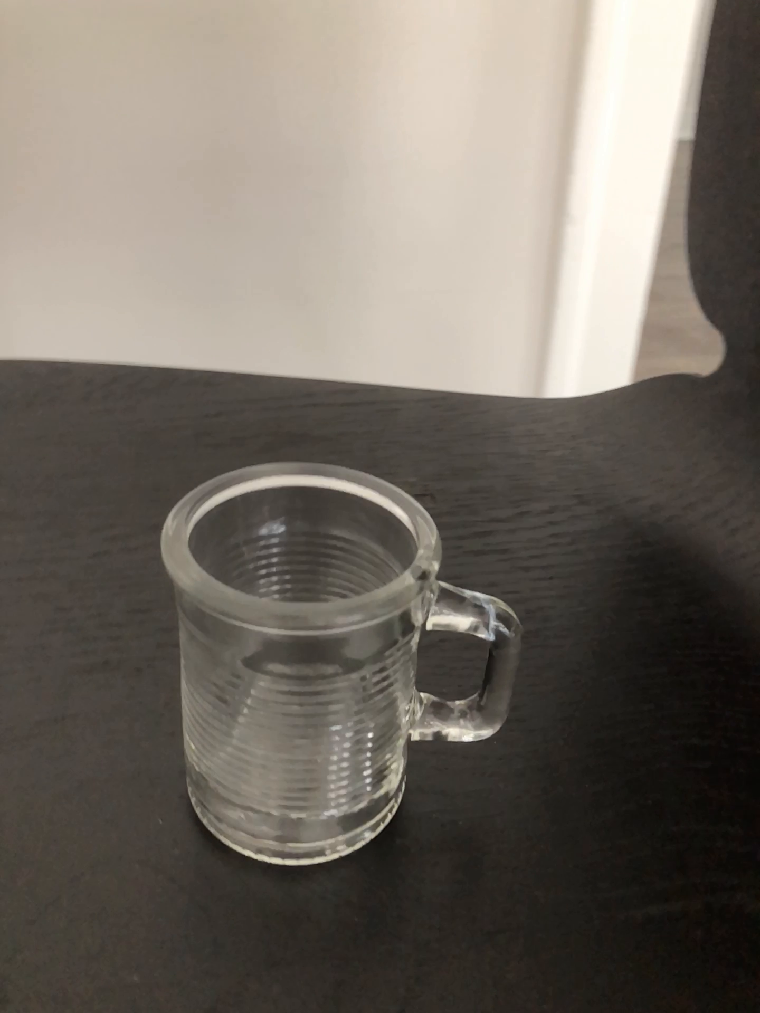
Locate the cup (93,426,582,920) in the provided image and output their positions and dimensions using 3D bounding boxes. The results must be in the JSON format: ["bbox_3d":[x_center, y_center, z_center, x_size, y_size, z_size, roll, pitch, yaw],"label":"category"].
[{"bbox_3d":[-0.006,0.037,0.201,0.090,0.080,0.060,10,35,9],"label":"cup"}]
